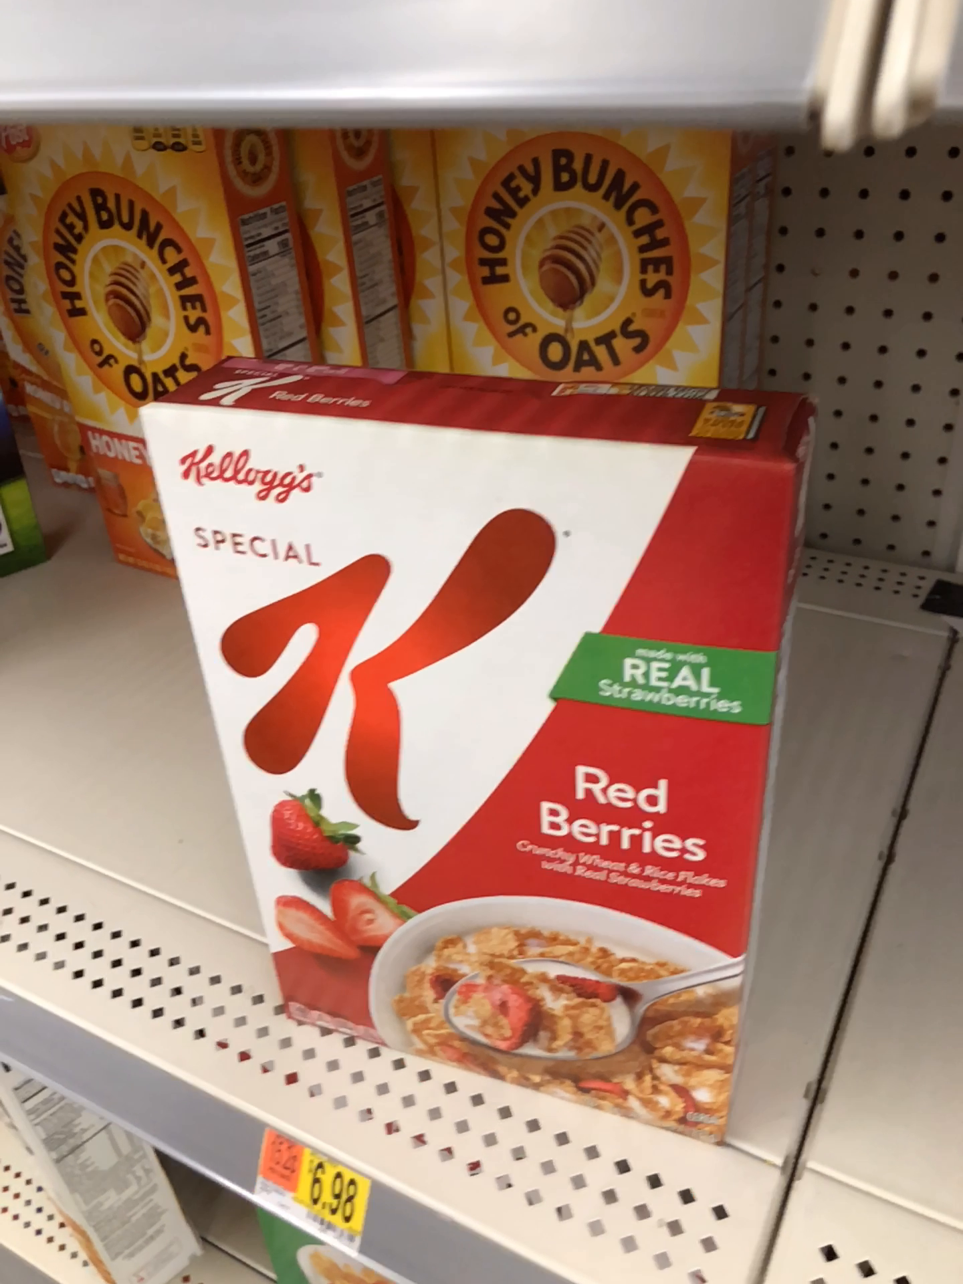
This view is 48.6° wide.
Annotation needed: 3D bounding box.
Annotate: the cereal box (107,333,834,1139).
[{"bbox_3d":[0.005,0.044,0.380,0.200,0.289,0.050,8,37,20],"label":"cereal box"}]
